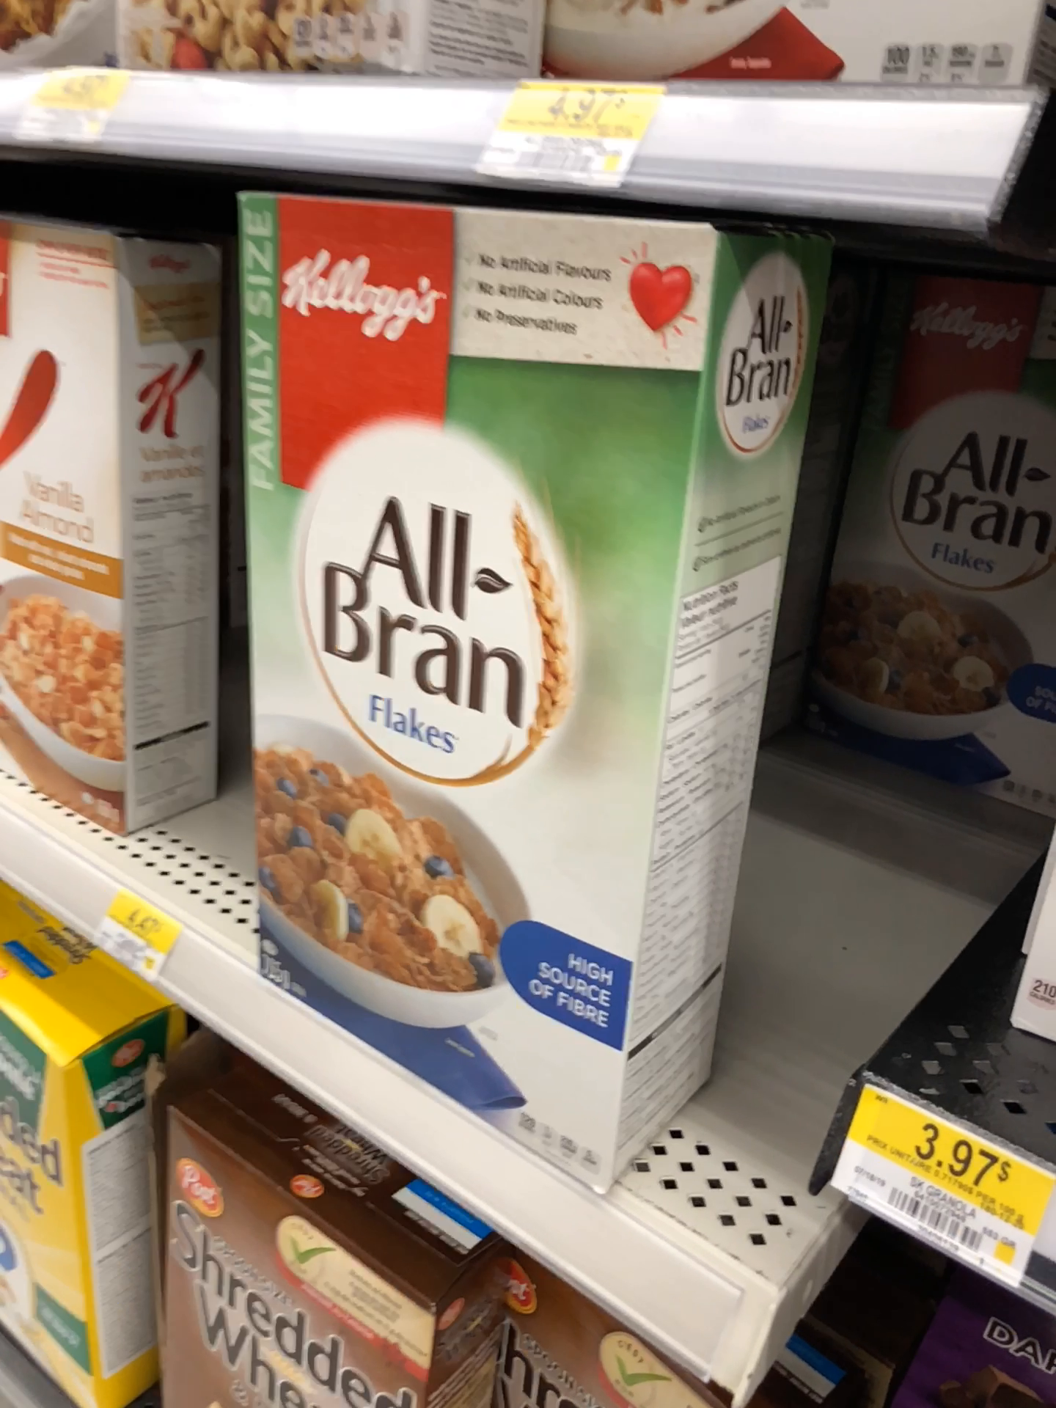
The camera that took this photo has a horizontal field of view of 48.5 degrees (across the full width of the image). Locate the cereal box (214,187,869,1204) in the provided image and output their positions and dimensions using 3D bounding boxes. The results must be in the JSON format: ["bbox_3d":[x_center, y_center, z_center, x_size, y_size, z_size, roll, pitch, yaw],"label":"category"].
[{"bbox_3d":[-0.017,-0.013,0.442,0.210,0.318,0.080,20,26,33],"label":"cereal box"}]
